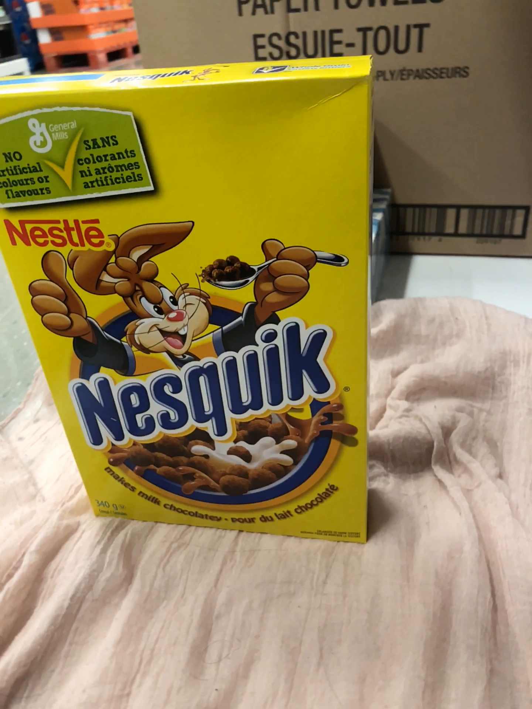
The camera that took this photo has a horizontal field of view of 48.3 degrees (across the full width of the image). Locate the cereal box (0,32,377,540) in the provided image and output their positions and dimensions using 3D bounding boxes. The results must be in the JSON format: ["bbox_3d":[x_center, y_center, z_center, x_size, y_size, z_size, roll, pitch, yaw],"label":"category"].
[{"bbox_3d":[-0.043,-0.018,0.326,0.200,0.259,0.060,2,35,14],"label":"cereal box"}]
